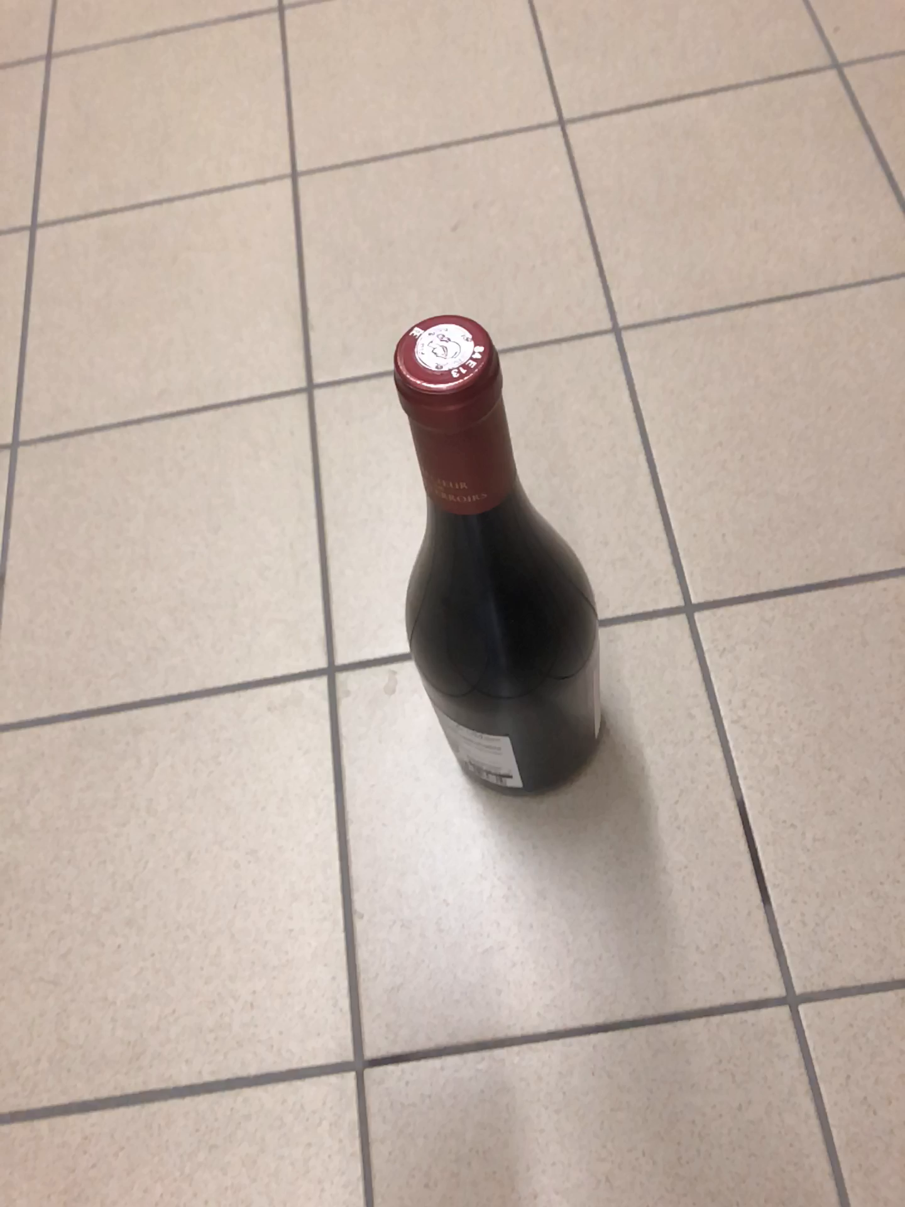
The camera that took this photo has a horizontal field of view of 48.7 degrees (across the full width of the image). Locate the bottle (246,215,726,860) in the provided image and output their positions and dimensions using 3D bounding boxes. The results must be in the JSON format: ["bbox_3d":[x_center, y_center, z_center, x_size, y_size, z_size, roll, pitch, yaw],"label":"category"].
[{"bbox_3d":[0.024,0.004,0.381,0.090,0.269,0.090,-4,63,7],"label":"bottle"}]
